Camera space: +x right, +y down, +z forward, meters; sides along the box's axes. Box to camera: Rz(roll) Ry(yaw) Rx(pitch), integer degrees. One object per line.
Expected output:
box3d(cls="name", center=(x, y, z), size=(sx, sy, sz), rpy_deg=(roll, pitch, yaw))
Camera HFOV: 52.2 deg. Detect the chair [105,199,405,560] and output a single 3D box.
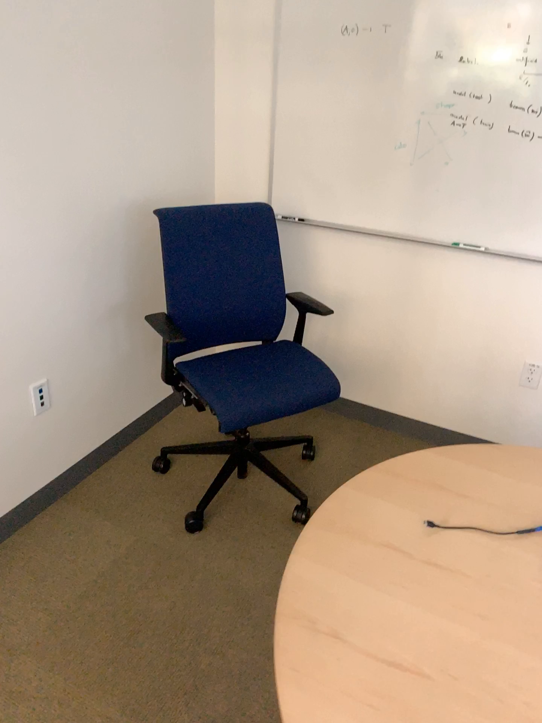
box3d(cls="chair", center=(-0.143, -0.035, 2.220), size=(0.740, 0.994, 0.985), rpy_deg=(-10, 29, -24))
